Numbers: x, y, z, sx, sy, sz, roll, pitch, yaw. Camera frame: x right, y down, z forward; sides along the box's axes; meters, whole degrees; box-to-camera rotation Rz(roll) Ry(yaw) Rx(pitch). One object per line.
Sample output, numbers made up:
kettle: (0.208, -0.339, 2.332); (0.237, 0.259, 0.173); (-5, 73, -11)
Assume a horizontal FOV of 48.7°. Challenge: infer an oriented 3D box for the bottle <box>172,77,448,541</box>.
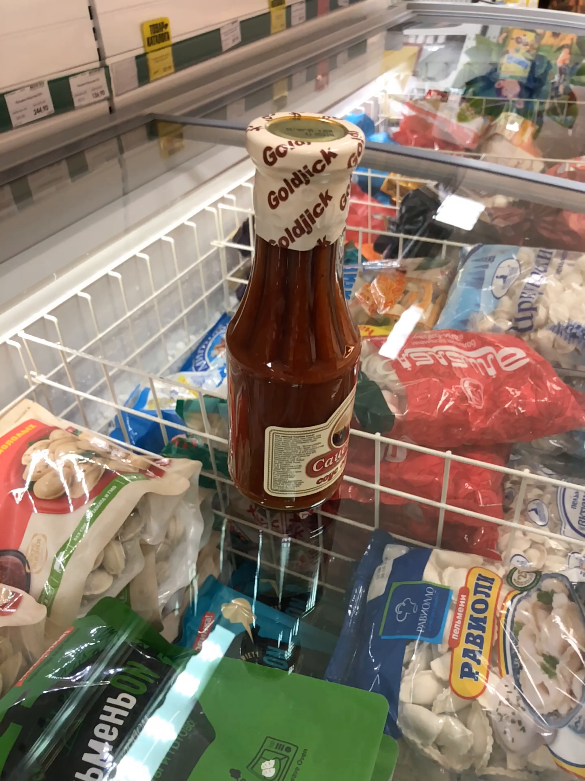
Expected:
bottle: (0.009, -0.032, 0.292); (0.080, 0.179, 0.080); (1, 37, -1)
